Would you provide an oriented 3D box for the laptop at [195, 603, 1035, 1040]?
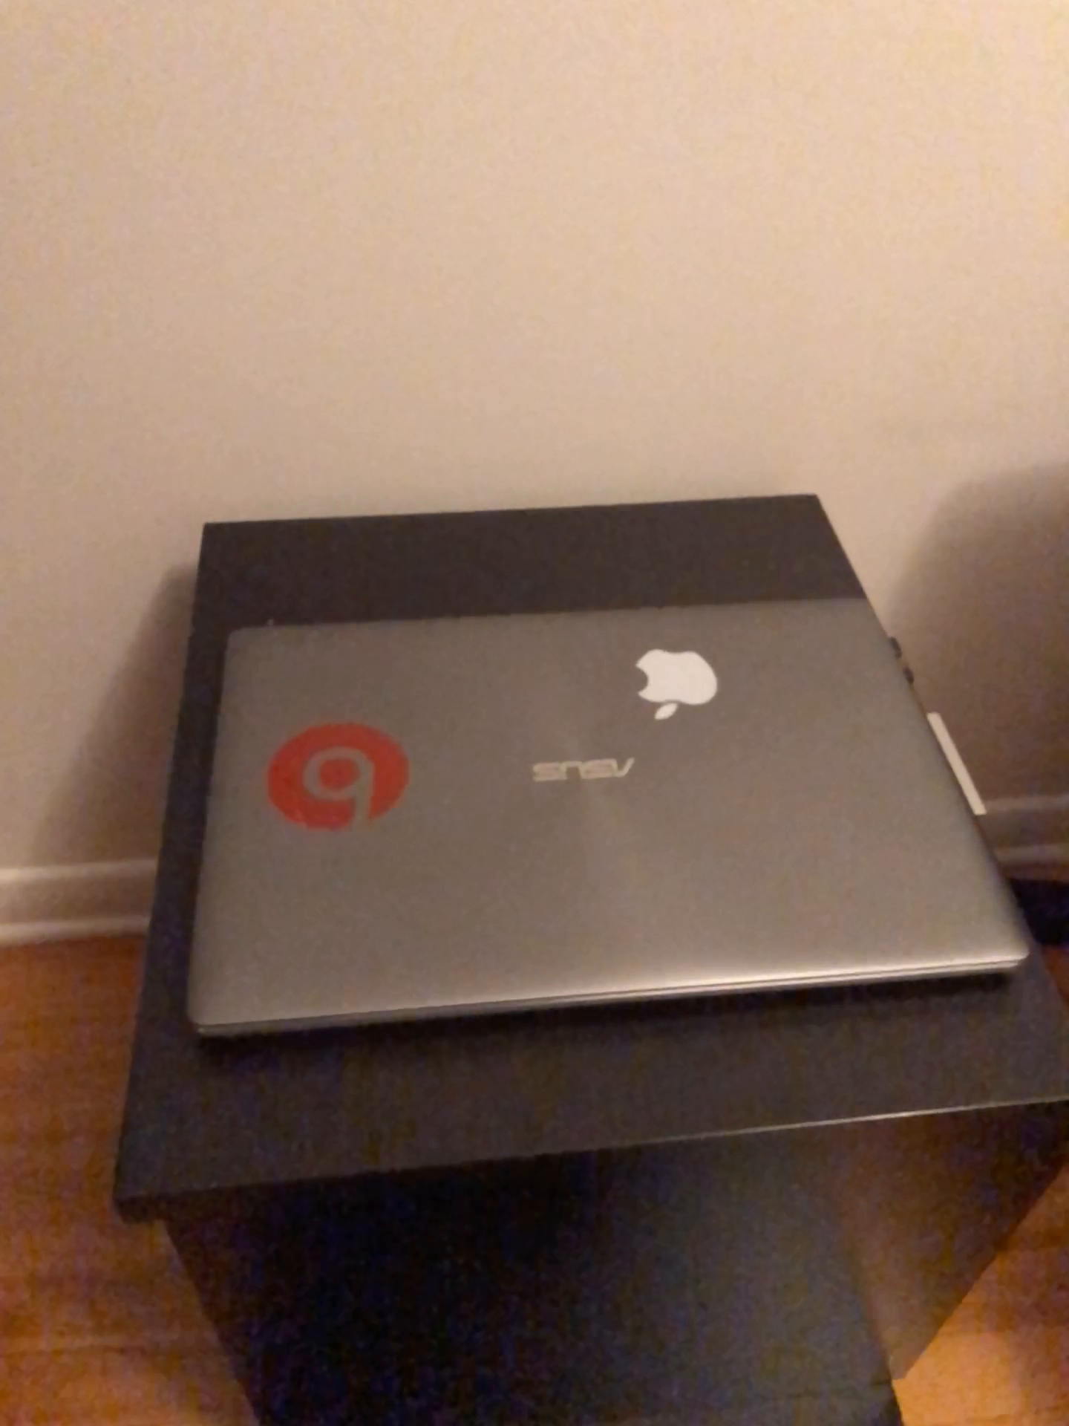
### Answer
[{"bbox_3d":[0.027,0.038,0.610,0.373,0.010,0.250,-3,46,-5],"label":"laptop"}]
